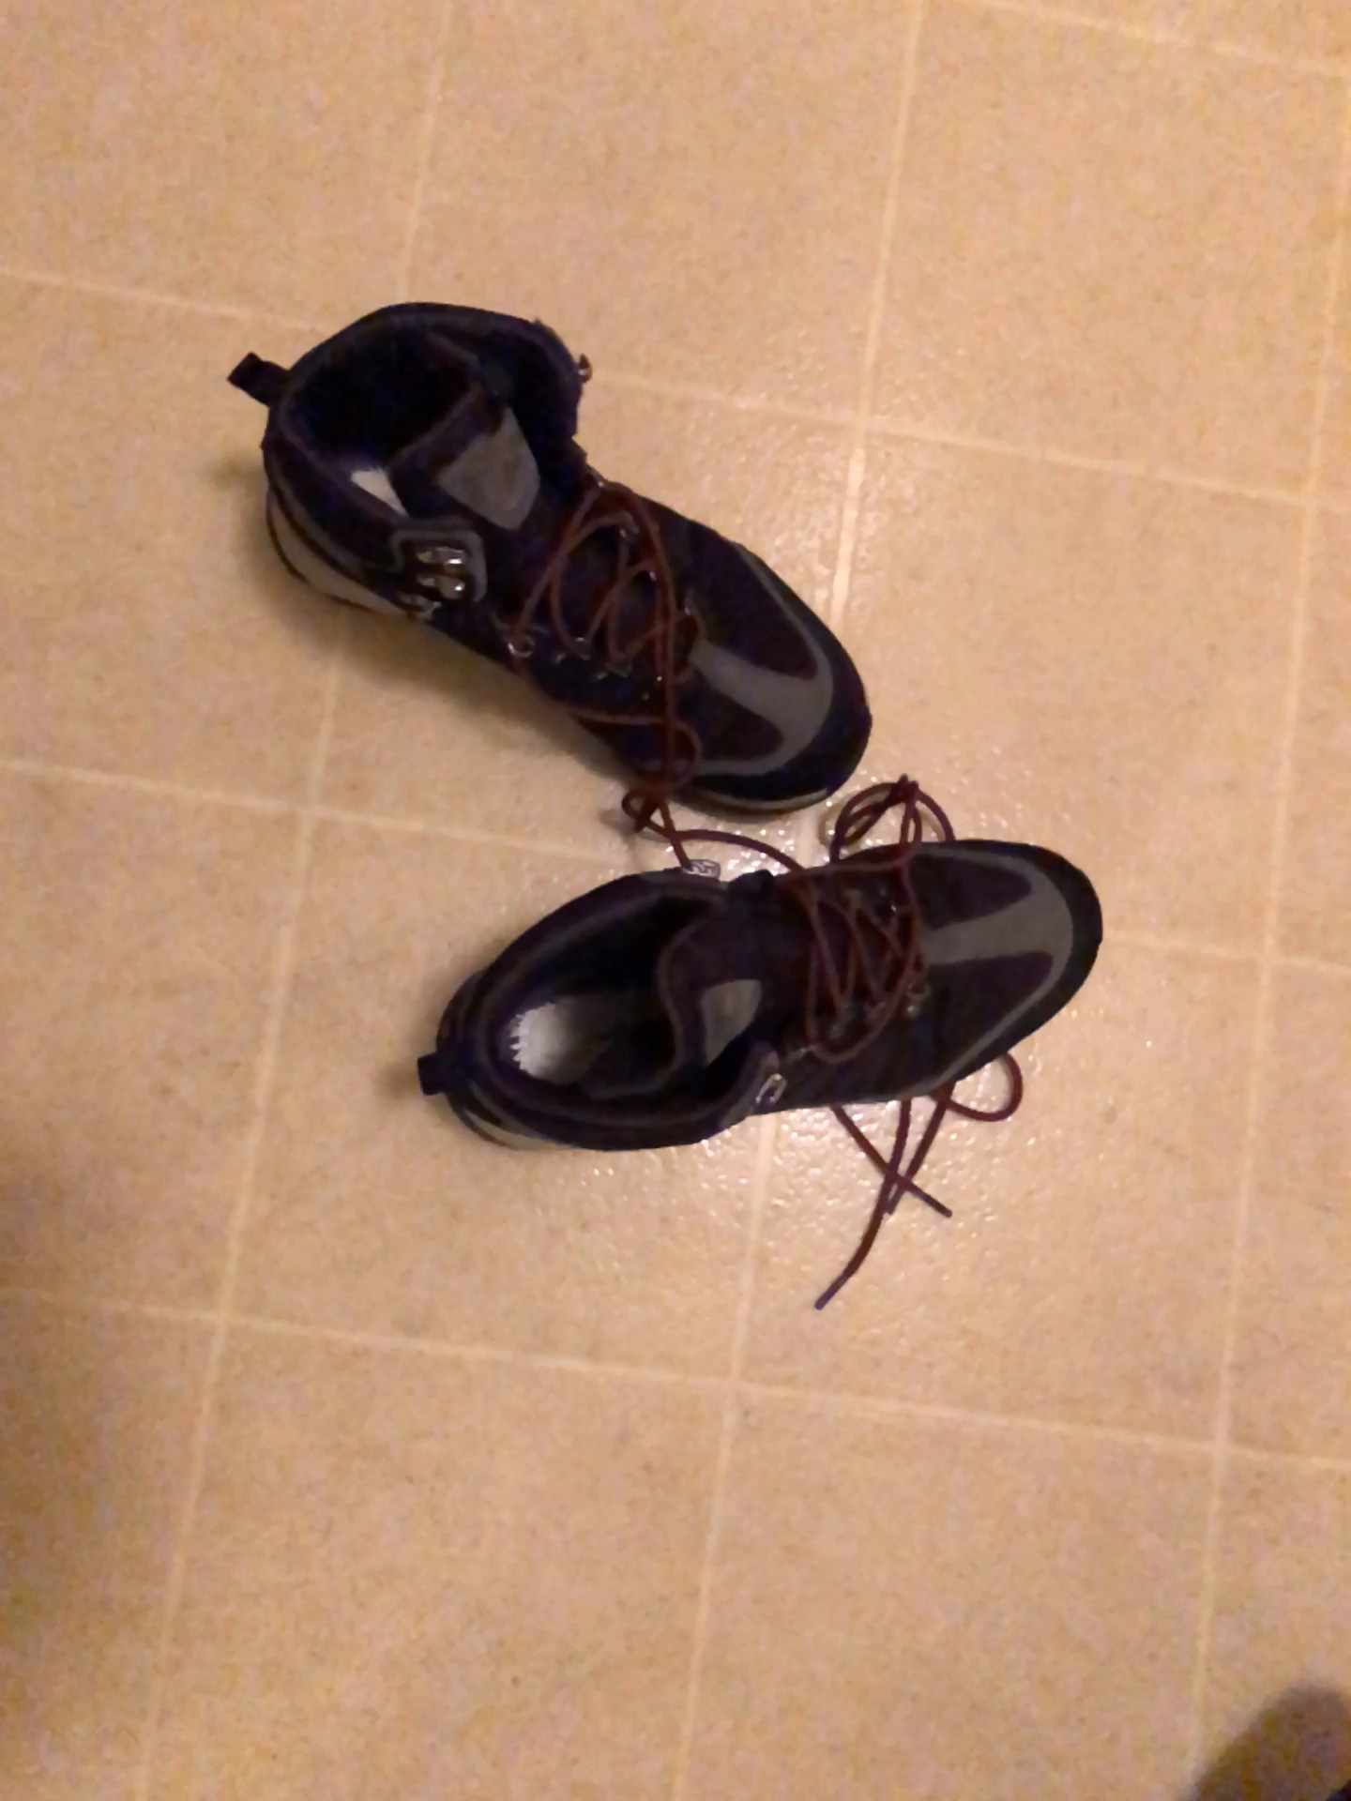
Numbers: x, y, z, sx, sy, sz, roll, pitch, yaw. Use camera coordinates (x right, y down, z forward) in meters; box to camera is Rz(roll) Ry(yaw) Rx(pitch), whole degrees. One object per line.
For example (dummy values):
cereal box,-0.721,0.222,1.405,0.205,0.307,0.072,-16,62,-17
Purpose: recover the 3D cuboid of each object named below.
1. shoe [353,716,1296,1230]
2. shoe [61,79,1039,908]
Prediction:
shoe,0.045,0.031,0.590,0.299,0.196,0.116,-11,85,-6
shoe,-0.047,-0.139,0.601,0.309,0.196,0.126,30,82,-1
